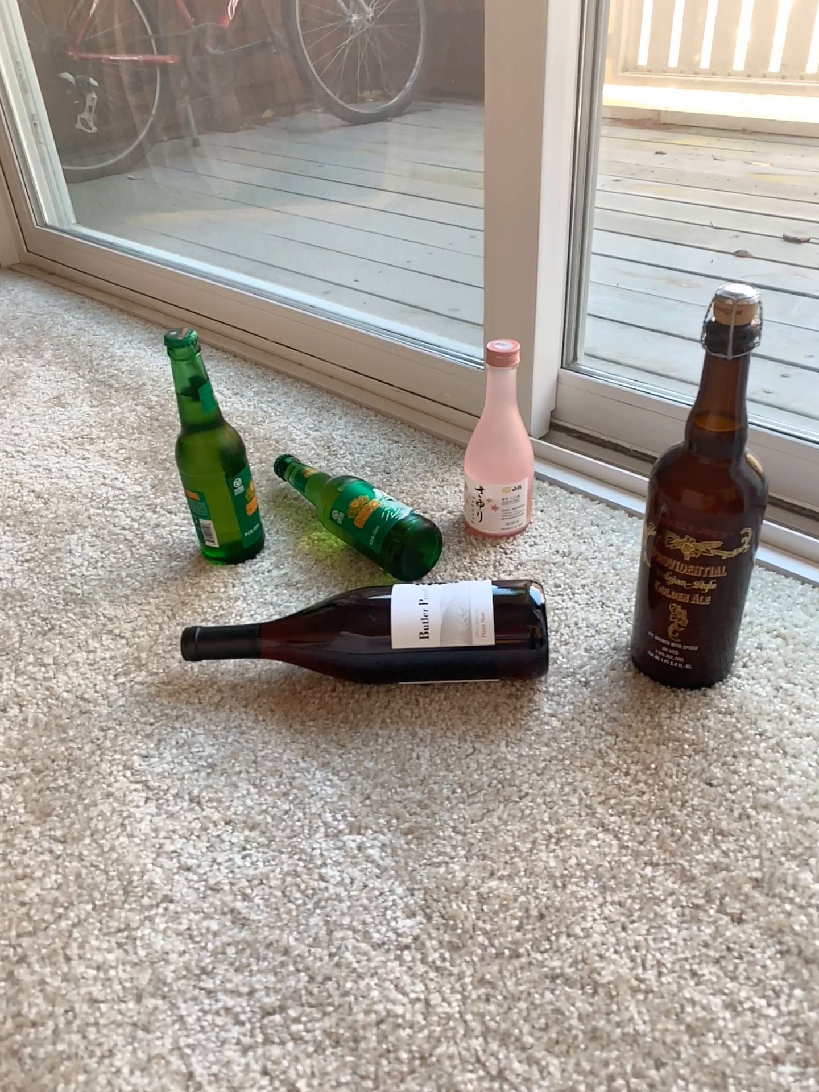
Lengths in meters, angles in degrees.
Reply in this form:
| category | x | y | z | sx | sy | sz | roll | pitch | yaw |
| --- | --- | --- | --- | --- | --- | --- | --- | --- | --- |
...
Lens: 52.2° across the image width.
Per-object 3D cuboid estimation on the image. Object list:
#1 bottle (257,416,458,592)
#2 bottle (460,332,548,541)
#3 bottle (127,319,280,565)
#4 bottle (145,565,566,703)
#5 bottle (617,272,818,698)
| category | x | y | z | sx | sy | sz | roll | pitch | yaw |
| --- | --- | --- | --- | --- | --- | --- | --- | --- | --- |
| bottle | -0.054 | -0.047 | 0.789 | 0.060 | 0.060 | 0.231 | -27 | 42 | -29 |
| bottle | 0.082 | -0.097 | 0.761 | 0.070 | 0.169 | 0.080 | -1 | 36 | 3 |
| bottle | -0.174 | -0.088 | 0.738 | 0.080 | 0.199 | 0.080 | -2 | 35 | 2 |
| bottle | -0.037 | 0.064 | 0.620 | 0.290 | 0.060 | 0.070 | -2 | 36 | 1 |
| bottle | 0.206 | -0.030 | 0.580 | 0.080 | 0.288 | 0.091 | -1 | 36 | 3 |
